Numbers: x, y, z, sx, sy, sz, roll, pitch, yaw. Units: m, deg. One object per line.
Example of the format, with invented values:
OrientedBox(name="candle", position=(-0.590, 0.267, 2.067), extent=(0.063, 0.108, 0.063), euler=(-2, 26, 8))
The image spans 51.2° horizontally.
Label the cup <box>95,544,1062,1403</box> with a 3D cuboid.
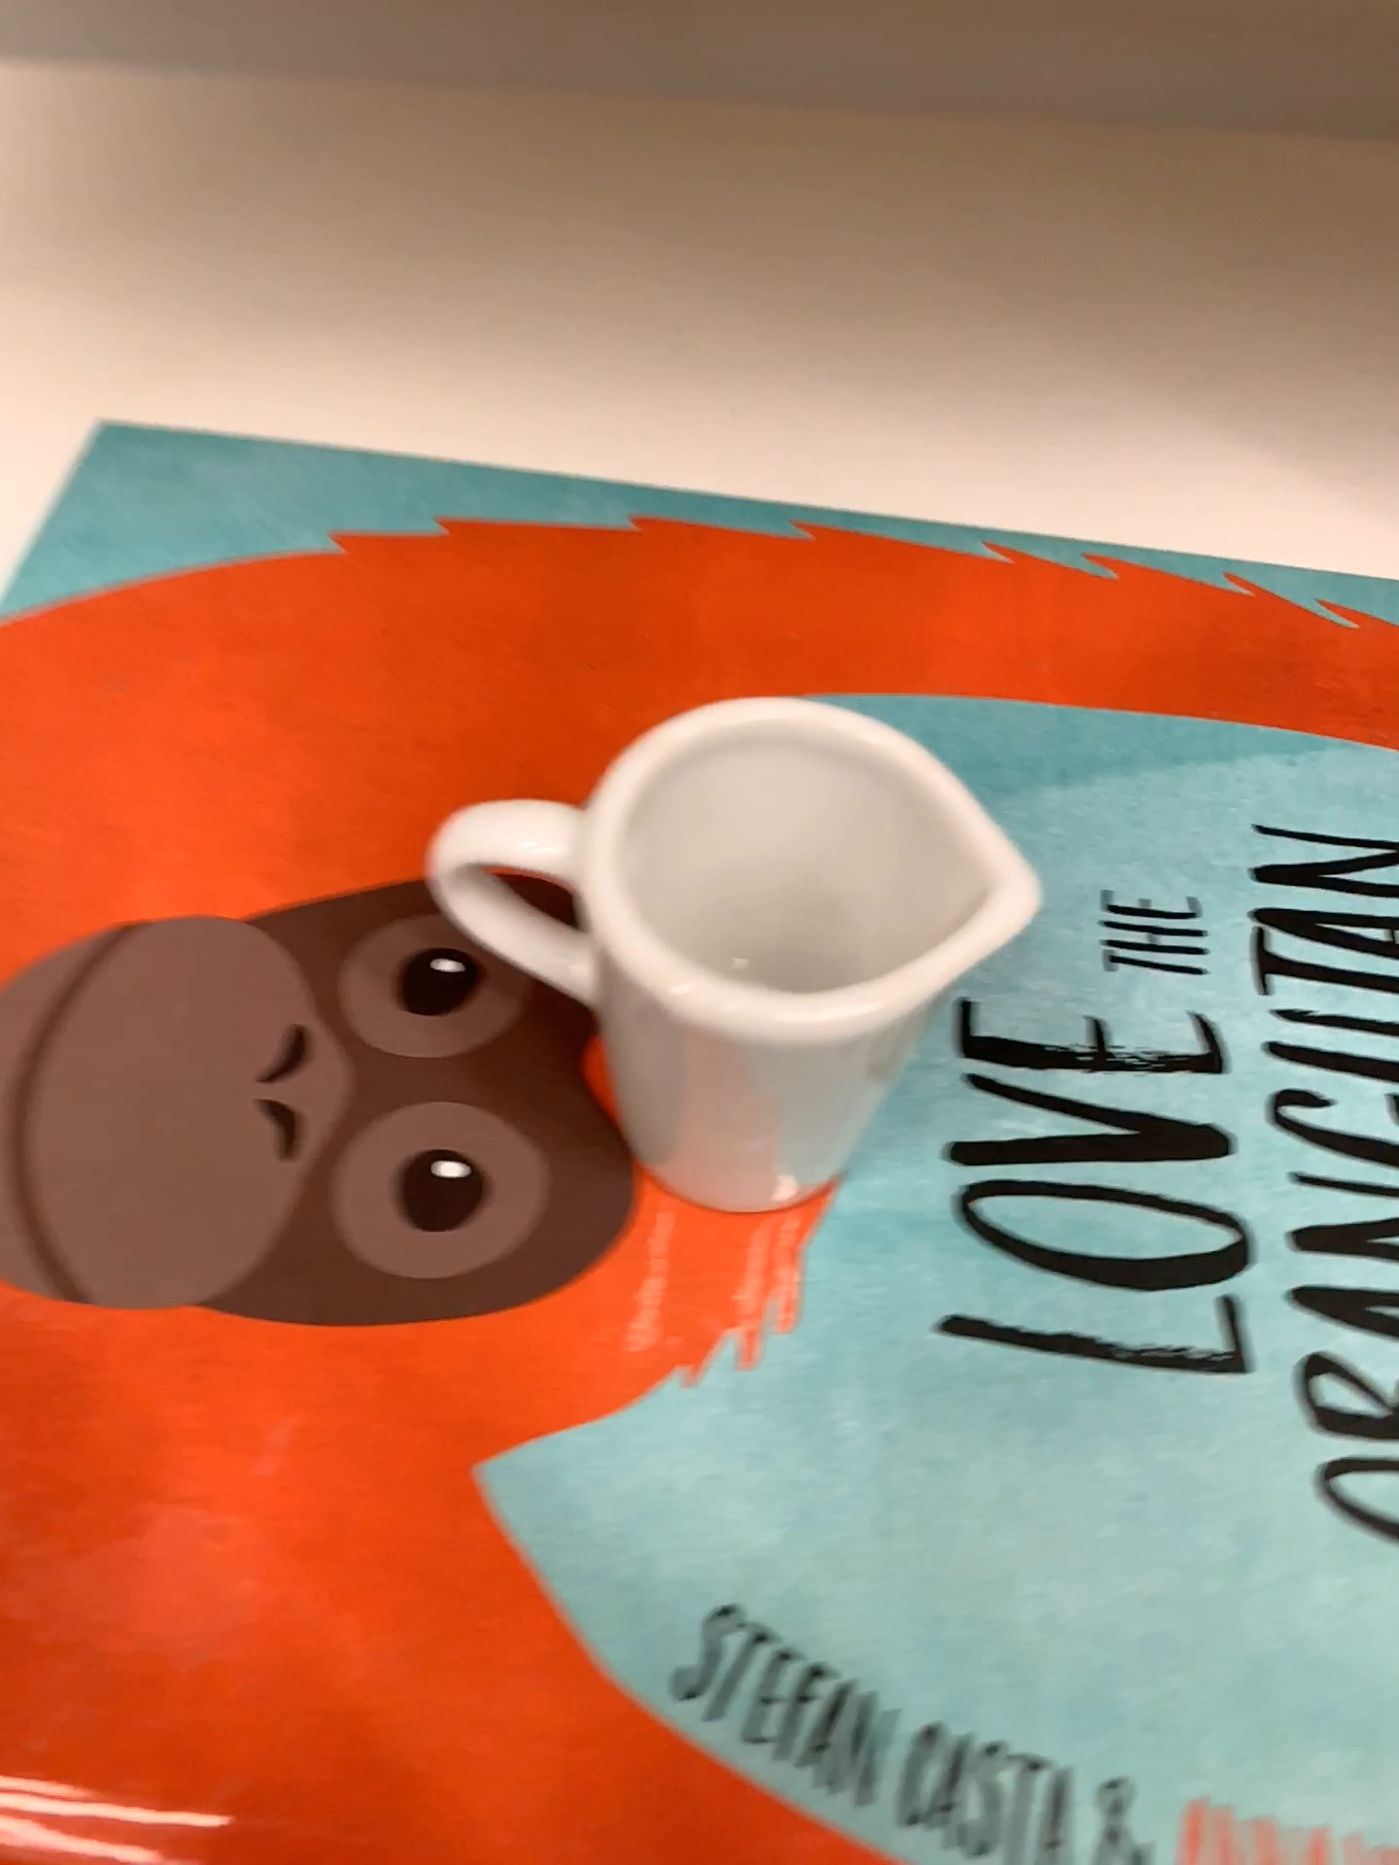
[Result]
OrientedBox(name="cup", position=(-0.008, 0.005, 0.146), extent=(0.070, 0.050, 0.050), euler=(16, 56, 7))
